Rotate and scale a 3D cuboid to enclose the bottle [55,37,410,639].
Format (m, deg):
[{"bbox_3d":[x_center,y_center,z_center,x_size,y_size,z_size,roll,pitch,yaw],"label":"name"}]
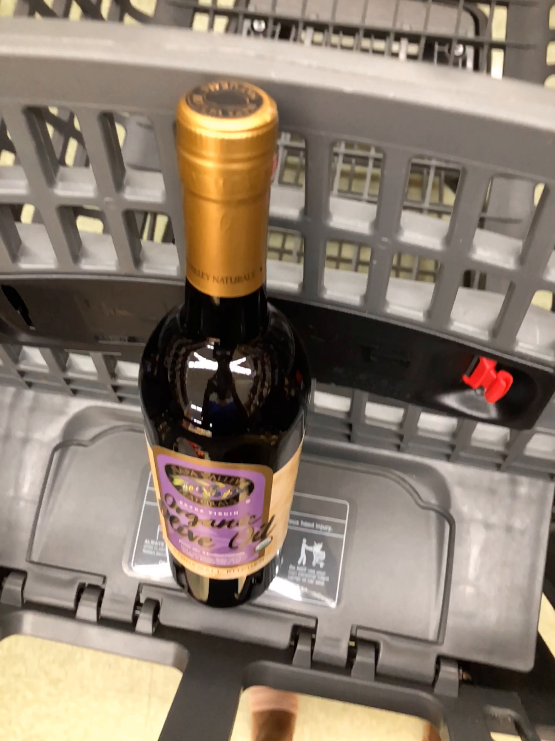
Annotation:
[{"bbox_3d":[-0.018,0.027,0.286,0.080,0.301,0.080,3,50,-3],"label":"bottle"}]
